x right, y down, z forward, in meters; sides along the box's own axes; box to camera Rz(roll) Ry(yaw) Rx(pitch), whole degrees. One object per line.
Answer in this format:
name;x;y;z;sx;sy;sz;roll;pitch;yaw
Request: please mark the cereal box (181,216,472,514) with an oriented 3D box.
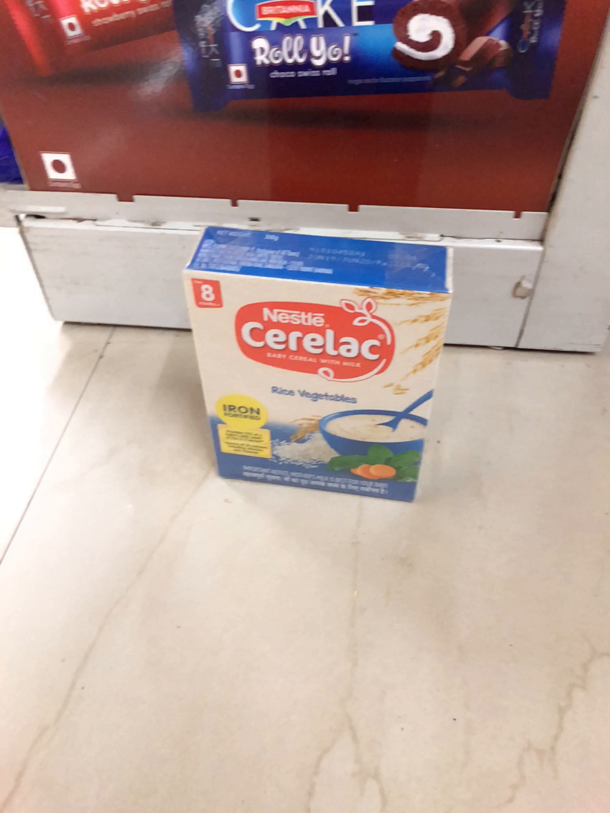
cereal box;0.016;-0.019;0.458;0.160;0.199;0.060;6;47;7
